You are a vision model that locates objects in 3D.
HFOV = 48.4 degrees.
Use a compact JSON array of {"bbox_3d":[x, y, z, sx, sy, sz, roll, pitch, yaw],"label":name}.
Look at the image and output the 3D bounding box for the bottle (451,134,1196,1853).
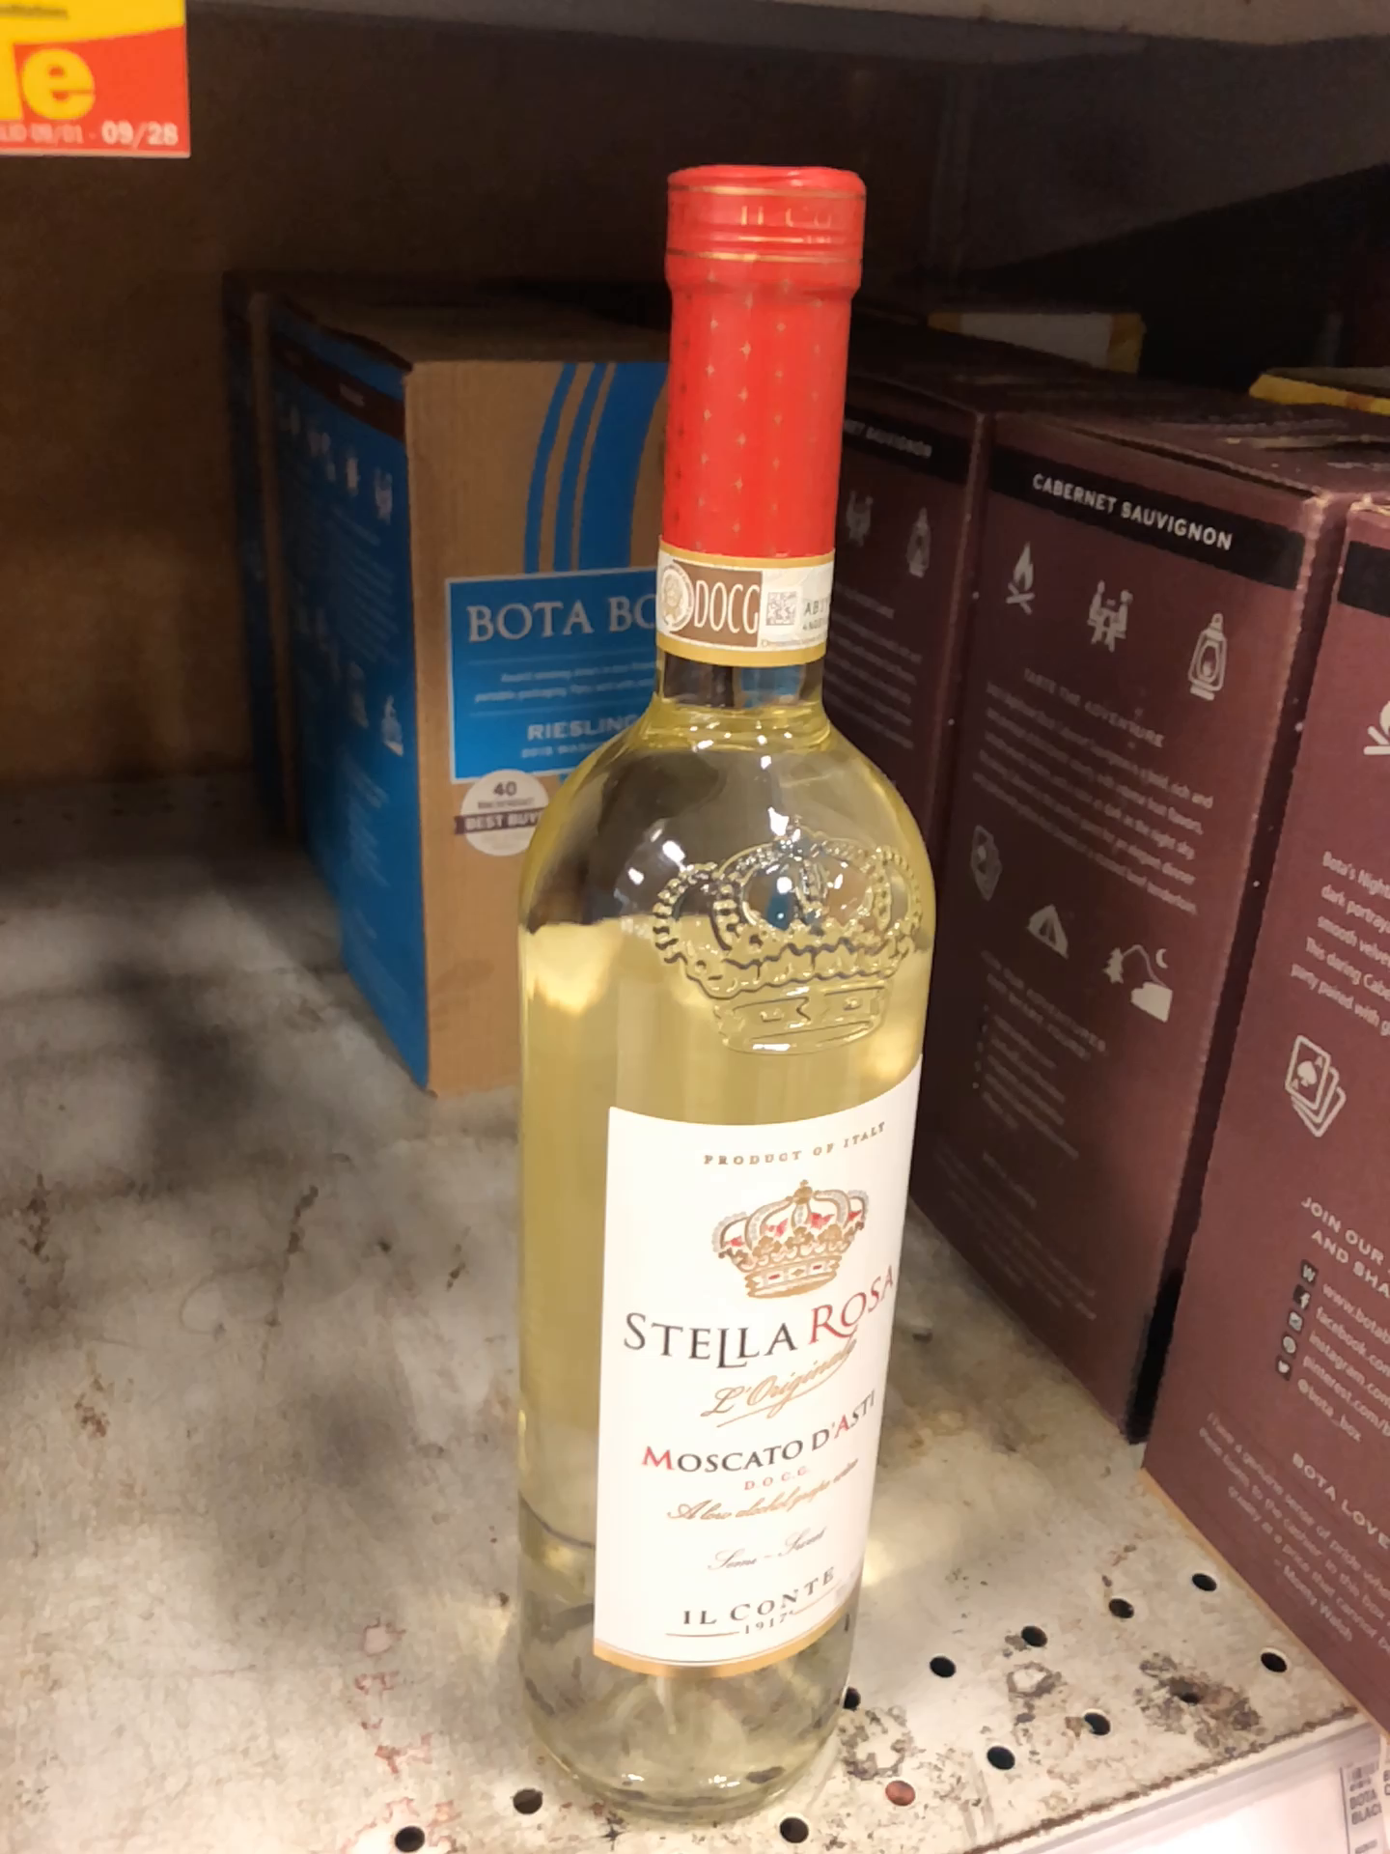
[{"bbox_3d":[0.006,0.035,0.287,0.080,0.319,0.070,-9,29,-25],"label":"bottle"}]
